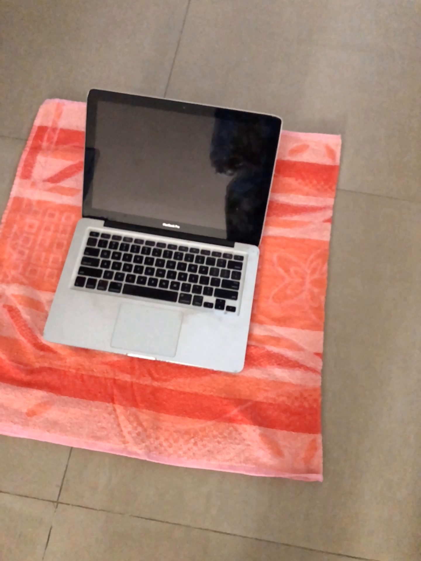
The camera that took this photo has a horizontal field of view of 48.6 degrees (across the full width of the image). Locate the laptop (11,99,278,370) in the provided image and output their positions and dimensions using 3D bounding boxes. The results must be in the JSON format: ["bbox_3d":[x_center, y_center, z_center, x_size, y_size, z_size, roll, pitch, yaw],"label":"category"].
[{"bbox_3d":[-0.077,-0.077,0.738,0.309,0.133,0.373,9,67,2],"label":"laptop"}]
